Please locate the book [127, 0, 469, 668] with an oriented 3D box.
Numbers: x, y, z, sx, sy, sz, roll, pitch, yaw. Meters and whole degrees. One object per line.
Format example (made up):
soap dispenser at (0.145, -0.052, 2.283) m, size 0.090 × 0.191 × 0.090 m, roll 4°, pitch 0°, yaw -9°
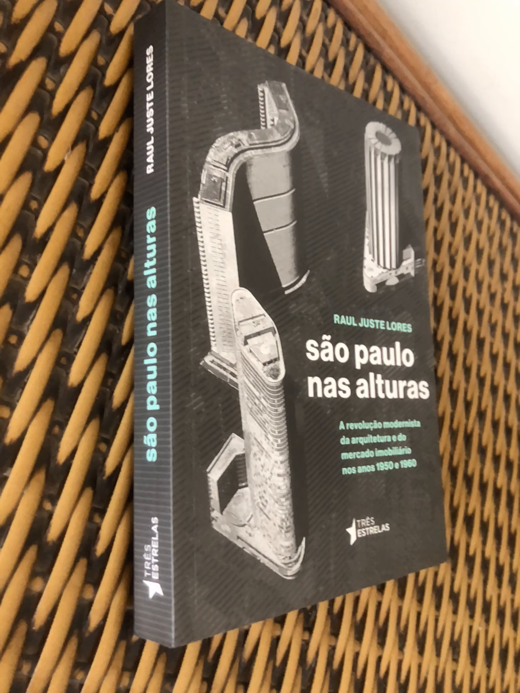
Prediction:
book at (0.027, -0.012, 0.241) m, size 0.161 × 0.030 × 0.221 m, roll 5°, pitch 82°, yaw -41°
